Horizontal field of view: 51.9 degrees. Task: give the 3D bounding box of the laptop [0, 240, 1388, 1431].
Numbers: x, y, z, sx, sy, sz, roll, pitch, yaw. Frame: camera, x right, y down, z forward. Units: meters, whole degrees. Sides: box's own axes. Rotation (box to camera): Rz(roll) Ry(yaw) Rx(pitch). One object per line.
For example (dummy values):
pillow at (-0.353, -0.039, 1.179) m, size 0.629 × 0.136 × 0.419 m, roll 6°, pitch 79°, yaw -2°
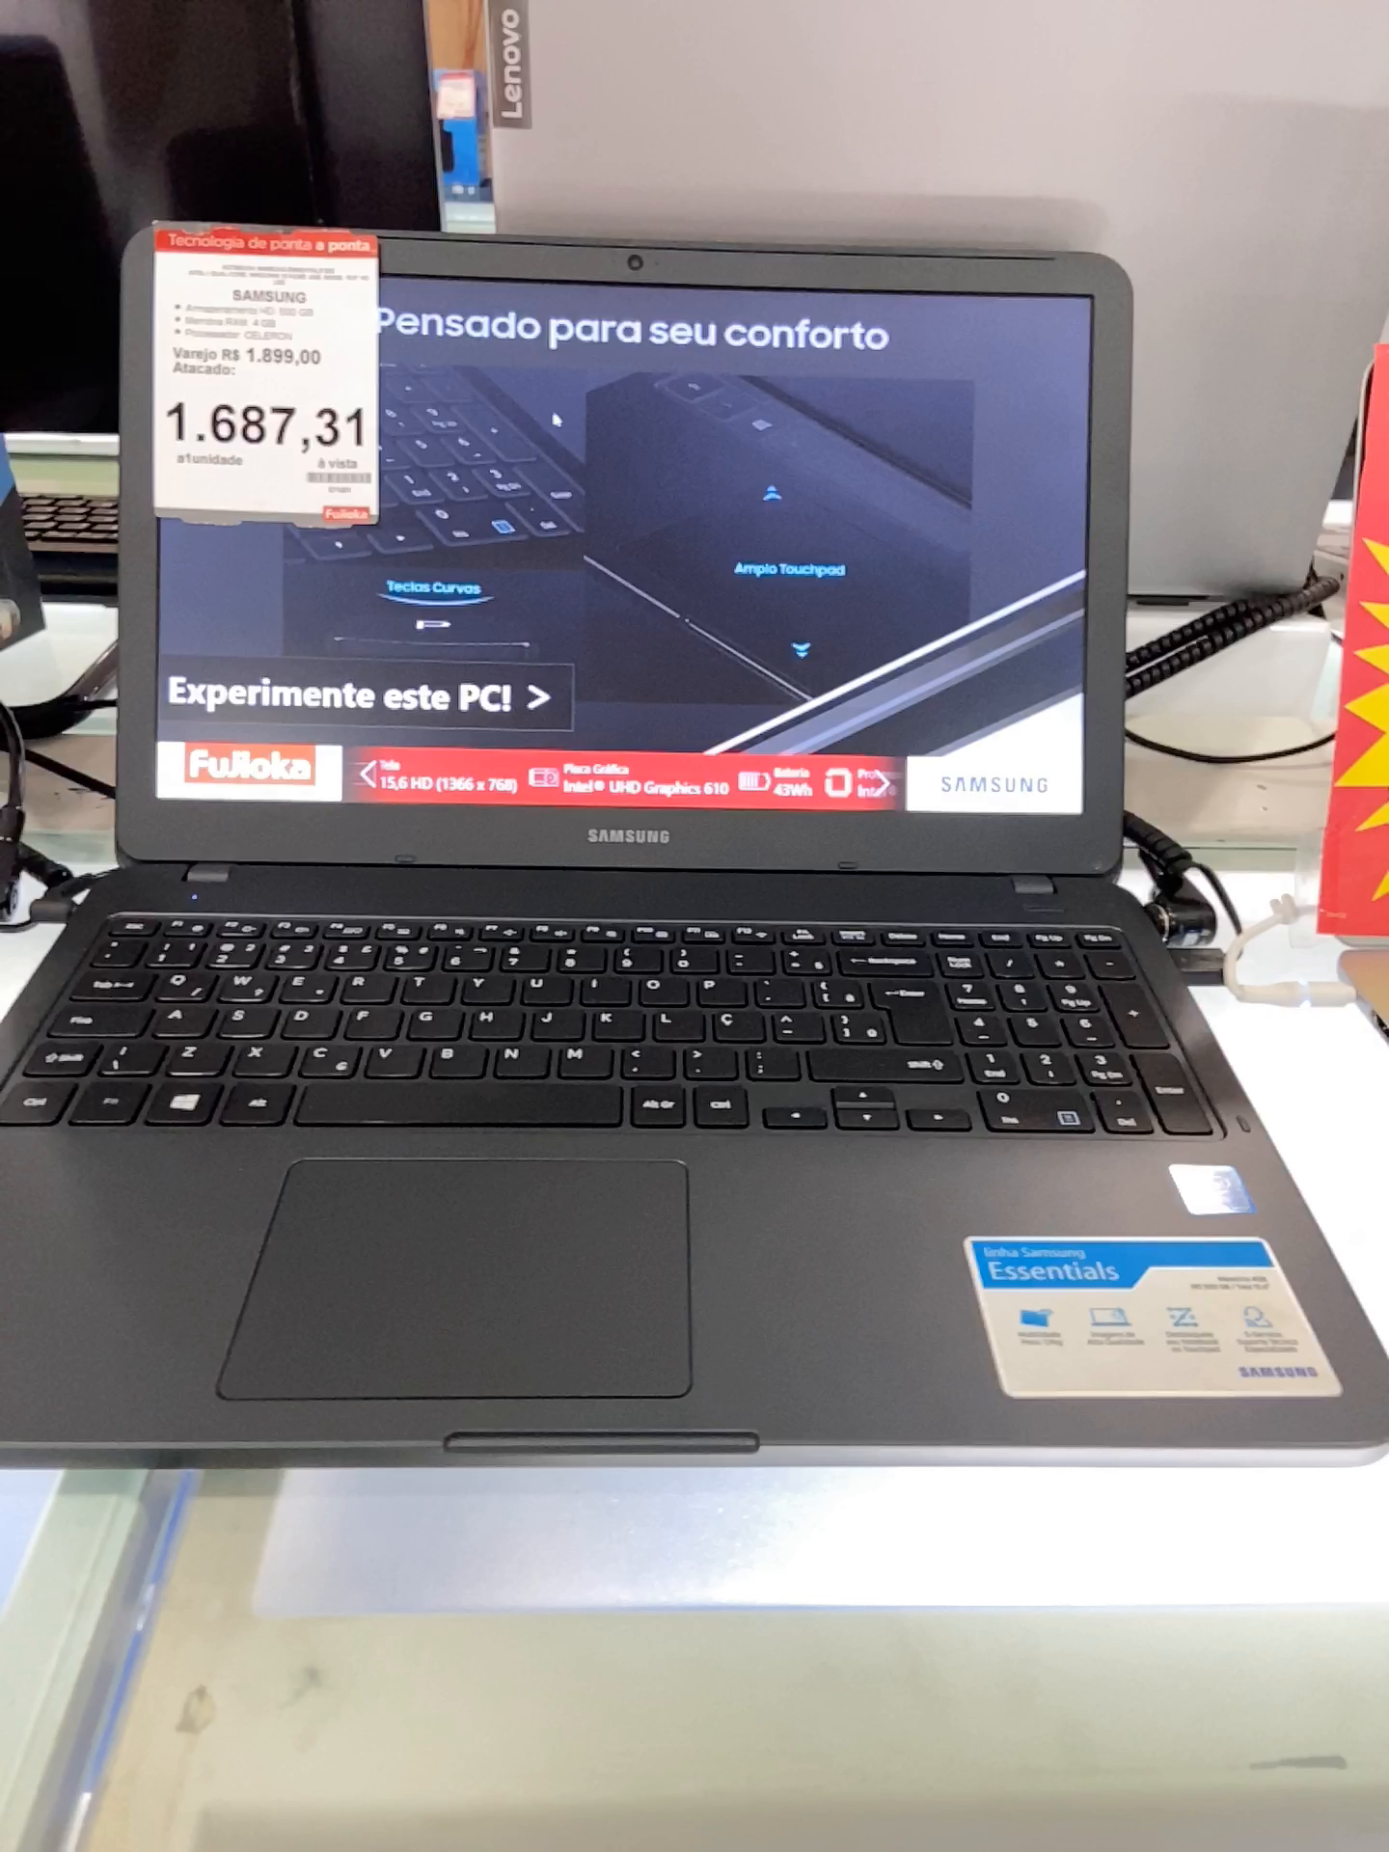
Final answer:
laptop at (-0.022, -0.070, 0.425) m, size 0.366 × 0.196 × 0.372 m, roll 0°, pitch 32°, yaw -1°
